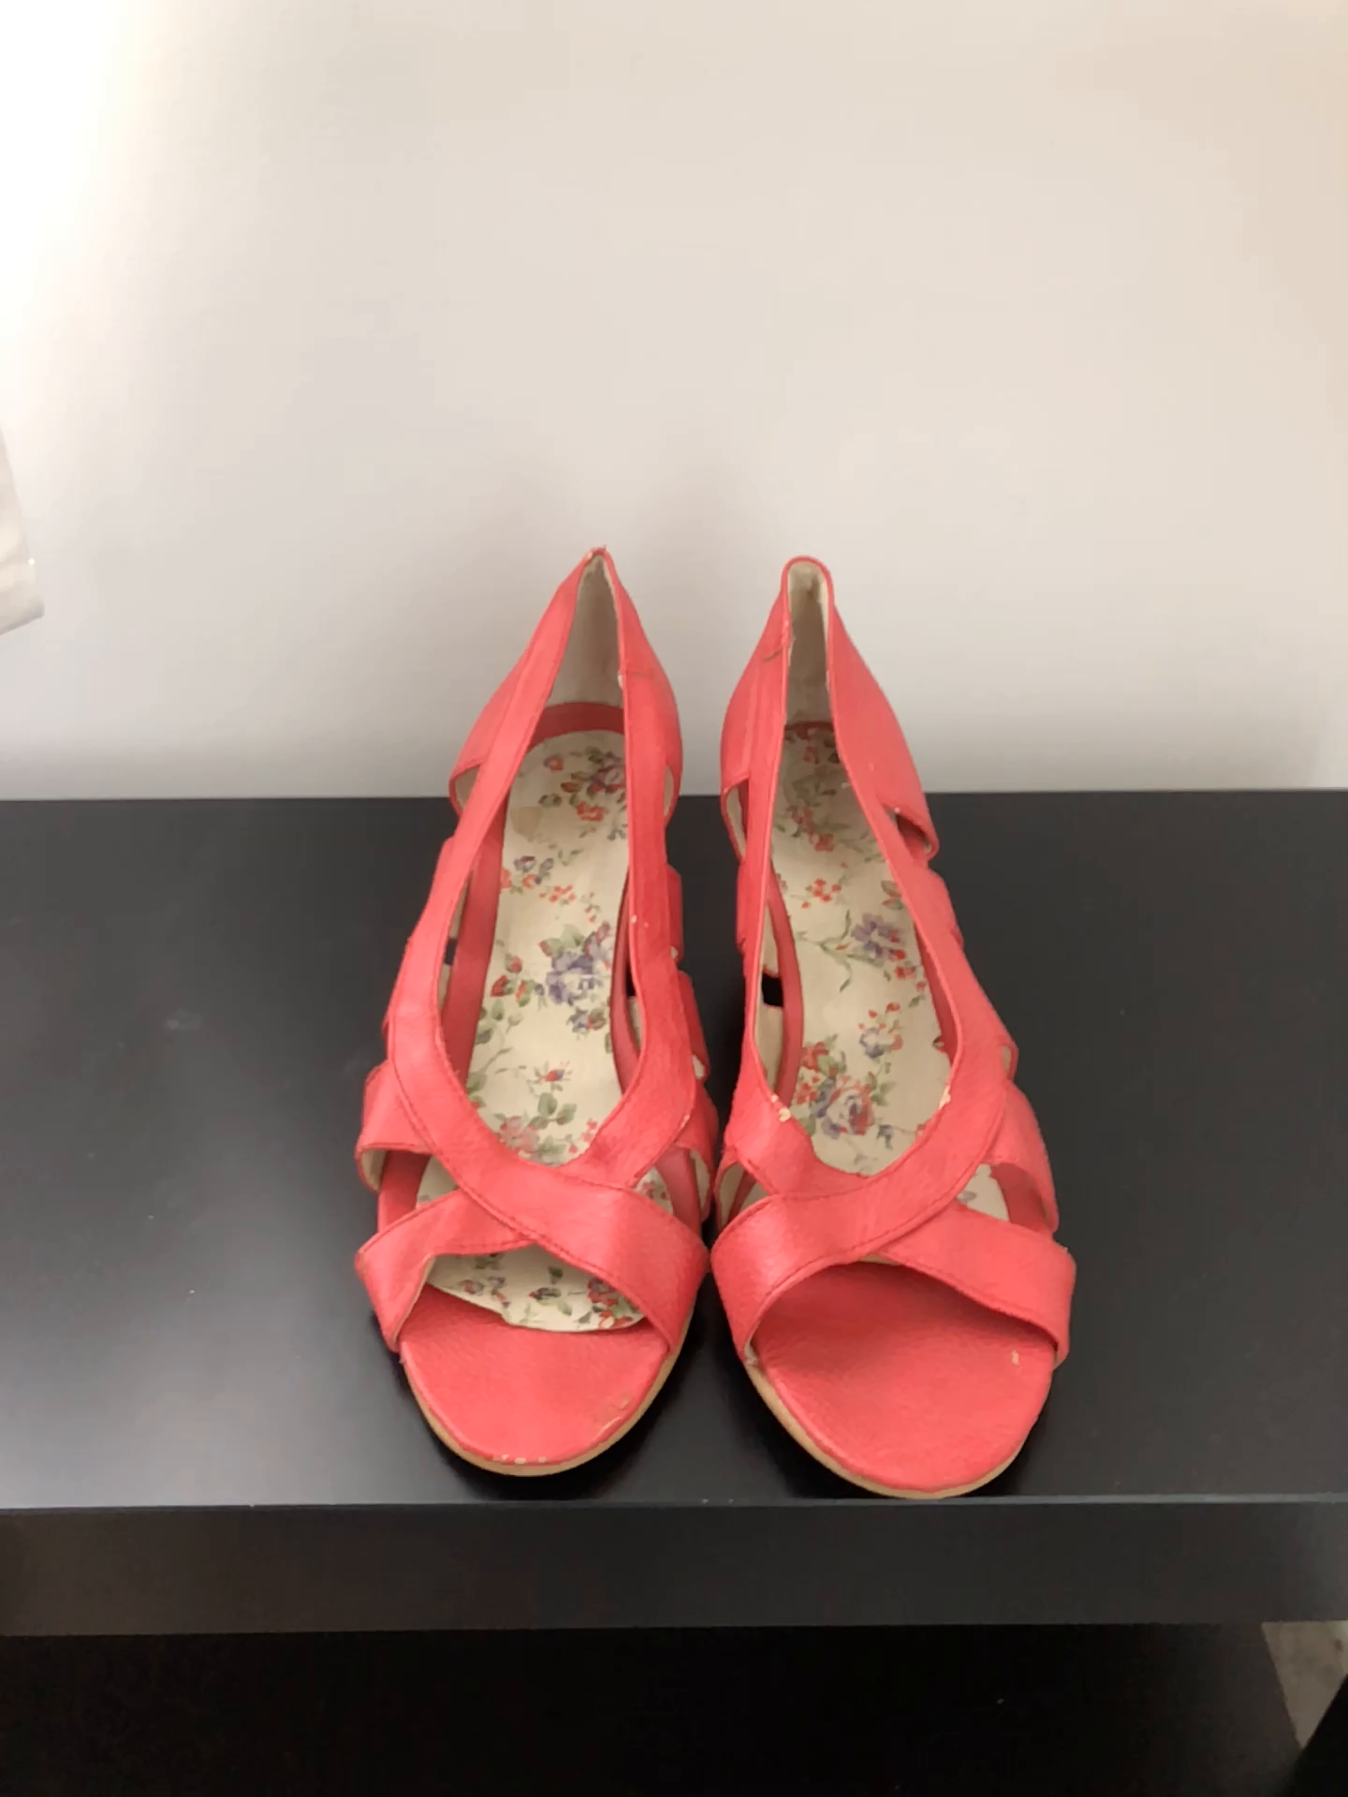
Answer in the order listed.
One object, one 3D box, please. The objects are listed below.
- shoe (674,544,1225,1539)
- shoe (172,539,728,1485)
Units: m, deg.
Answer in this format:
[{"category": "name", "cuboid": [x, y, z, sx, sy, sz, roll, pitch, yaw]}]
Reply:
[{"category": "shoe", "cuboid": [0.042, 0.013, 0.349, 0.077, 0.100, 0.231, -1, 37, -1]}, {"category": "shoe", "cuboid": [-0.038, 0.008, 0.353, 0.087, 0.100, 0.221, -1, 37, -1]}]
